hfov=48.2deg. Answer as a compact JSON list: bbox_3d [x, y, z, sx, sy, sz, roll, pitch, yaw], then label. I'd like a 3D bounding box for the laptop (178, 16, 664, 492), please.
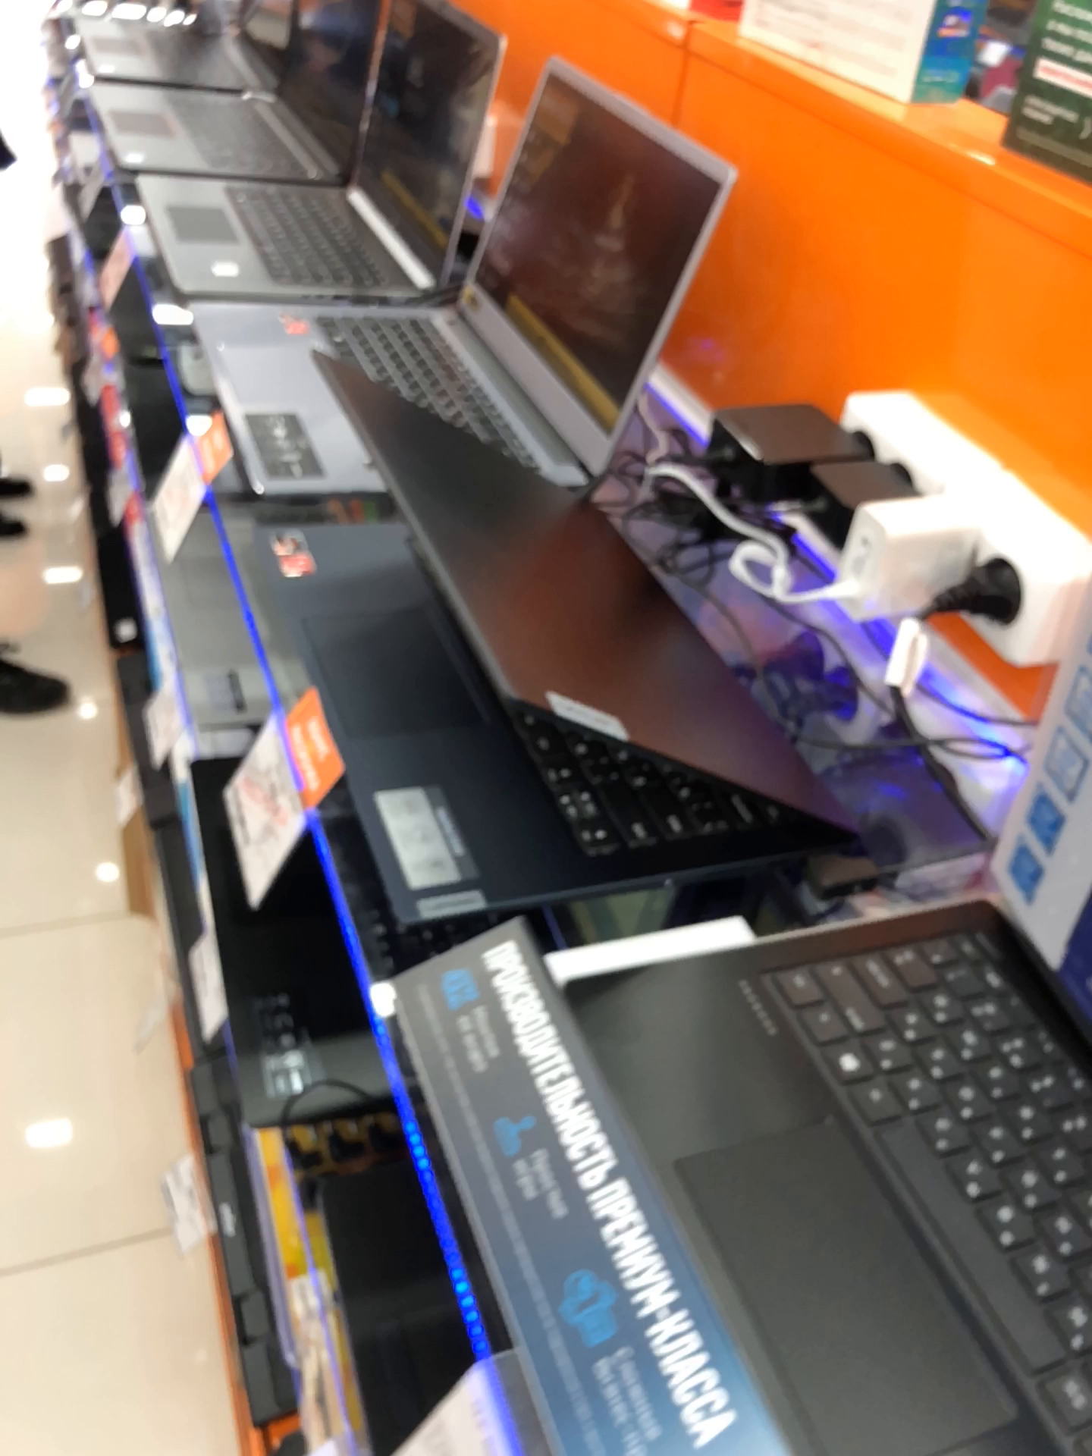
[{"bbox_3d":[-0.109,-0.328,0.837,0.224,0.203,0.317,-6,39,-21],"label":"laptop"}]

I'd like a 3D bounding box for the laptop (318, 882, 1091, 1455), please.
[{"bbox_3d":[0.045,0.276,0.543,0.225,0.215,0.354,-3,38,-19],"label":"laptop"}]

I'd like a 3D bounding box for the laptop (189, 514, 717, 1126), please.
[{"bbox_3d":[-0.095,0.041,0.823,0.246,0.230,0.343,-3,37,-18],"label":"laptop"}]

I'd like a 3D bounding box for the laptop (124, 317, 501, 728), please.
[{"bbox_3d":[-0.229,-0.200,1.113,0.235,0.207,0.349,-7,41,-22],"label":"laptop"}]

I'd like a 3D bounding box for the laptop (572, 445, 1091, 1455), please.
[{"bbox_3d":[0.189,0.099,0.318,0.228,0.213,0.307,-4,38,-21],"label":"laptop"}]

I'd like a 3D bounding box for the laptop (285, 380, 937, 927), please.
[{"bbox_3d":[0.004,-0.062,0.596,0.212,0.106,0.300,-5,38,-20],"label":"laptop"}]
